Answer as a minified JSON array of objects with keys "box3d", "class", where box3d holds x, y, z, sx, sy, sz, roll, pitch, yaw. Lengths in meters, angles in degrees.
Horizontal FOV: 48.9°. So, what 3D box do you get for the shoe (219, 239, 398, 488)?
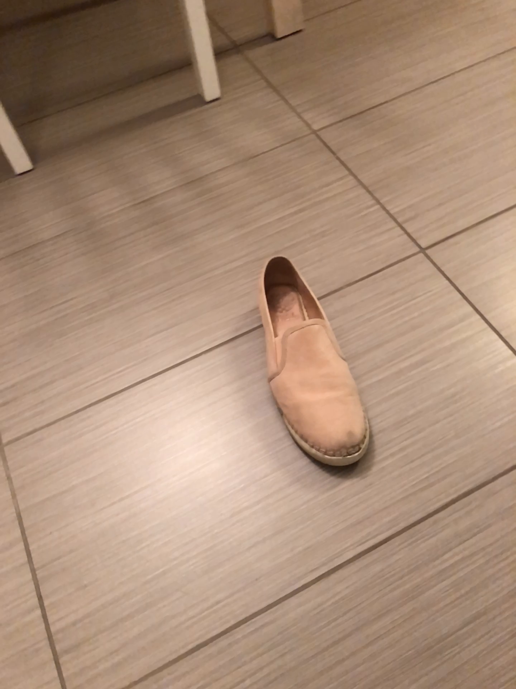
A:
[{"box3d":[0.048,0.012,0.656,0.110,0.070,0.271,-18,57,-5],"class":"shoe"}]
